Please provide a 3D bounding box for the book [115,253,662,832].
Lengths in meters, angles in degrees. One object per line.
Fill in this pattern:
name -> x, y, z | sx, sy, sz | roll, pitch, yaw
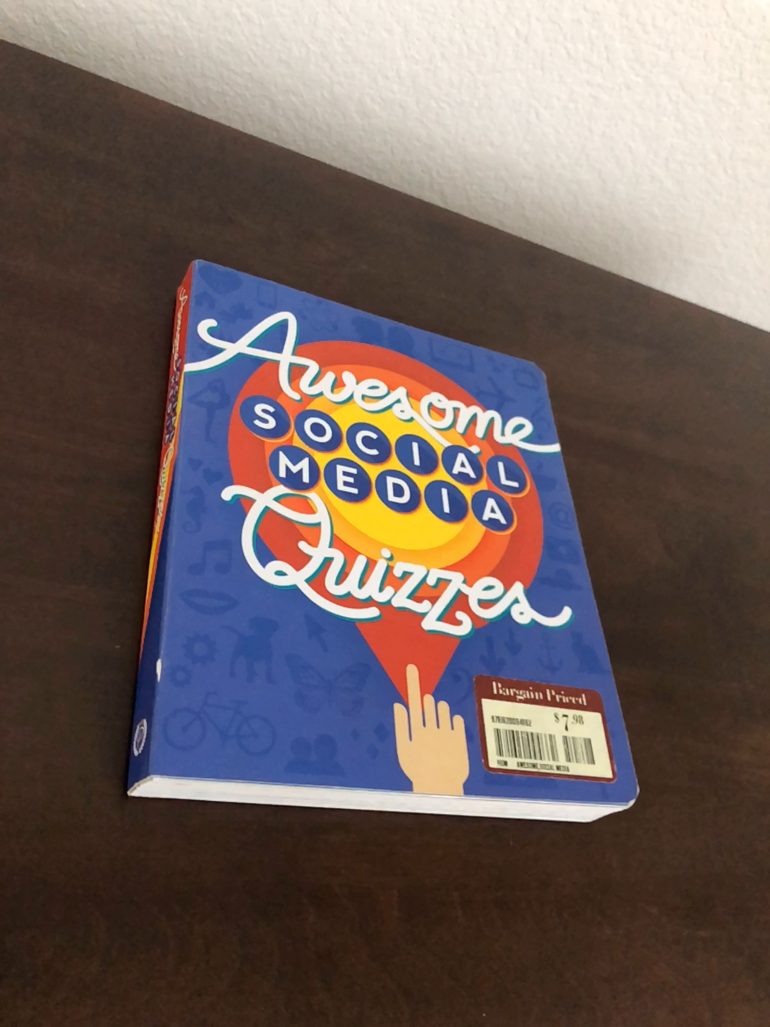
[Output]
book -> 0.003, 0.006, 0.312 | 0.172, 0.020, 0.201 | 12, 53, -23
